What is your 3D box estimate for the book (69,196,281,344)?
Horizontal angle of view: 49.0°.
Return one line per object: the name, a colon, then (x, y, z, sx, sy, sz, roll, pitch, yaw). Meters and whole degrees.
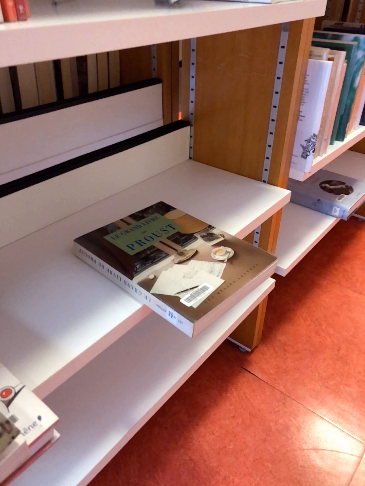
book: (-0.015, 0.018, 0.576, 0.245, 0.030, 0.181, 30, 43, 34)
